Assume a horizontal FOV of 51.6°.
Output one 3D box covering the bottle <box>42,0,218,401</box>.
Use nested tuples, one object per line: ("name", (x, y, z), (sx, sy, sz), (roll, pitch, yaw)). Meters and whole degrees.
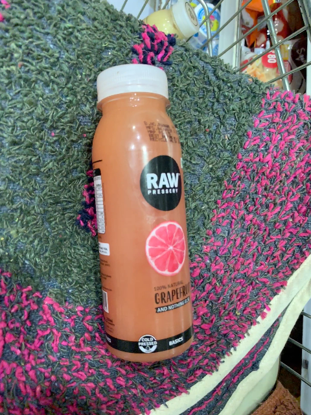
("bottle", (-0.017, -0.004, 0.168), (0.060, 0.060, 0.160), (-4, 88, -29))
